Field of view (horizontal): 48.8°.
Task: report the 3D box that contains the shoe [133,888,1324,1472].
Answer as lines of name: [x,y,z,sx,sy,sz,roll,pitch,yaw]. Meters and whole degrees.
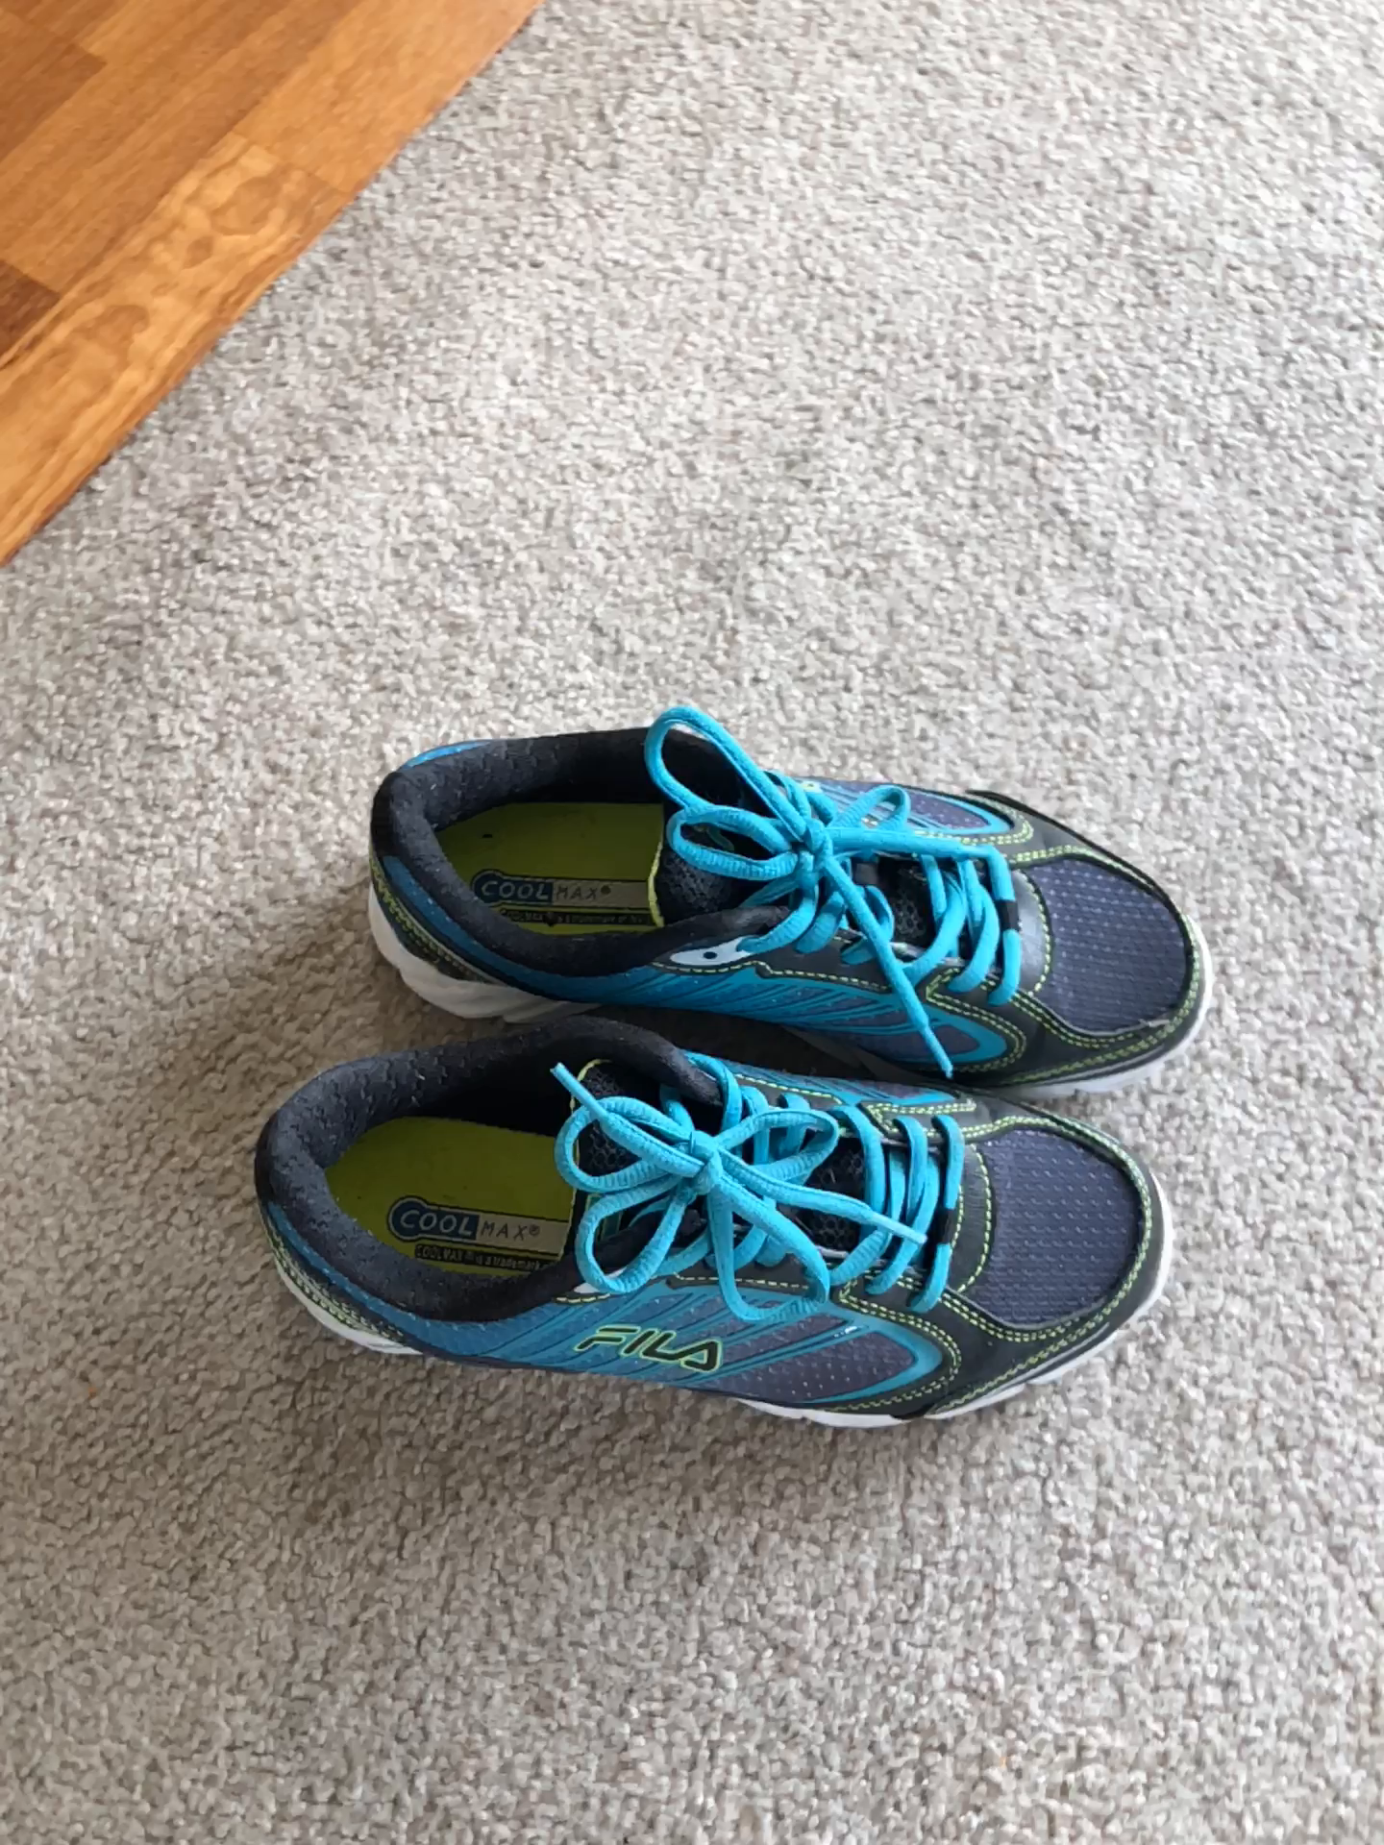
shoe: [0.012,0.076,0.420,0.271,0.119,0.105,6,67,2]

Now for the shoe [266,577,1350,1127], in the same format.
shoe: [0.032,-0.015,0.458,0.274,0.119,0.102,5,69,1]
